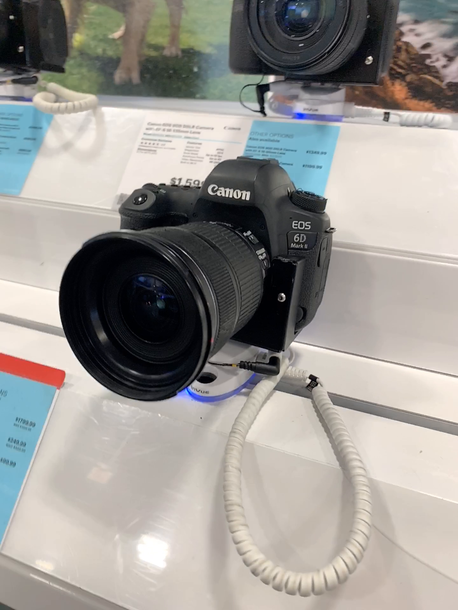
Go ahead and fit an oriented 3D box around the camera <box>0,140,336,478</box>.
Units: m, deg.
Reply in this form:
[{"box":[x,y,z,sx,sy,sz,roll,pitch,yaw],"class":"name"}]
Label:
[{"box":[-0.028,-0.025,0.286,0.137,0.123,0.180,11,24,20],"class":"camera"}]
